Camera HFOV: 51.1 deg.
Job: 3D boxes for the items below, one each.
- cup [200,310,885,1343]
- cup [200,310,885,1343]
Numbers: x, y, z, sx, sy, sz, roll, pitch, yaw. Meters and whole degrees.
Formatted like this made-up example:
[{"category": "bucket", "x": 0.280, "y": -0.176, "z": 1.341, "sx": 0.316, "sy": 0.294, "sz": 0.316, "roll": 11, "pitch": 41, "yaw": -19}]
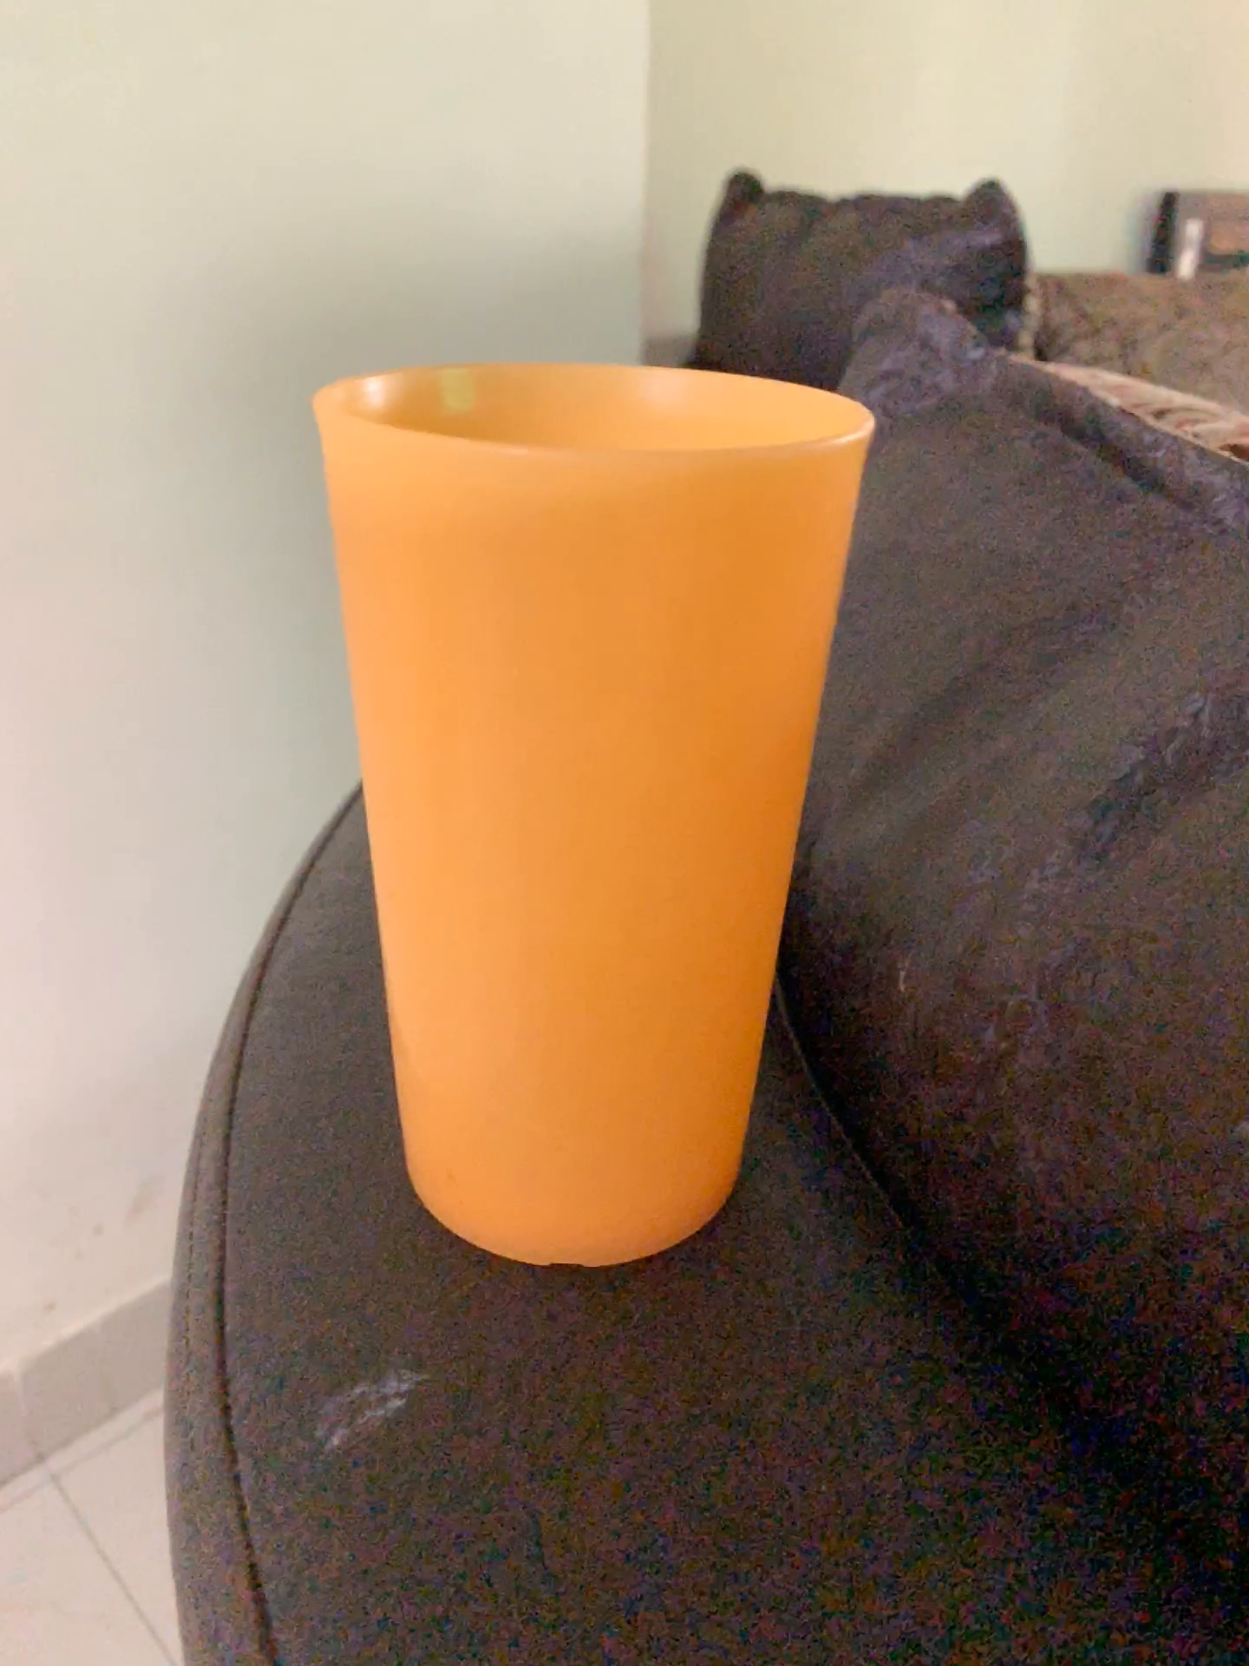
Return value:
[{"category": "cup", "x": -0.005, "y": -0.006, "z": 0.195, "sx": 0.070, "sy": 0.129, "sz": 0.070, "roll": 0, "pitch": 25, "yaw": 0}, {"category": "cup", "x": -0.005, "y": -0.006, "z": 0.195, "sx": 0.070, "sy": 0.129, "sz": 0.070, "roll": 0, "pitch": 25, "yaw": 0}]
